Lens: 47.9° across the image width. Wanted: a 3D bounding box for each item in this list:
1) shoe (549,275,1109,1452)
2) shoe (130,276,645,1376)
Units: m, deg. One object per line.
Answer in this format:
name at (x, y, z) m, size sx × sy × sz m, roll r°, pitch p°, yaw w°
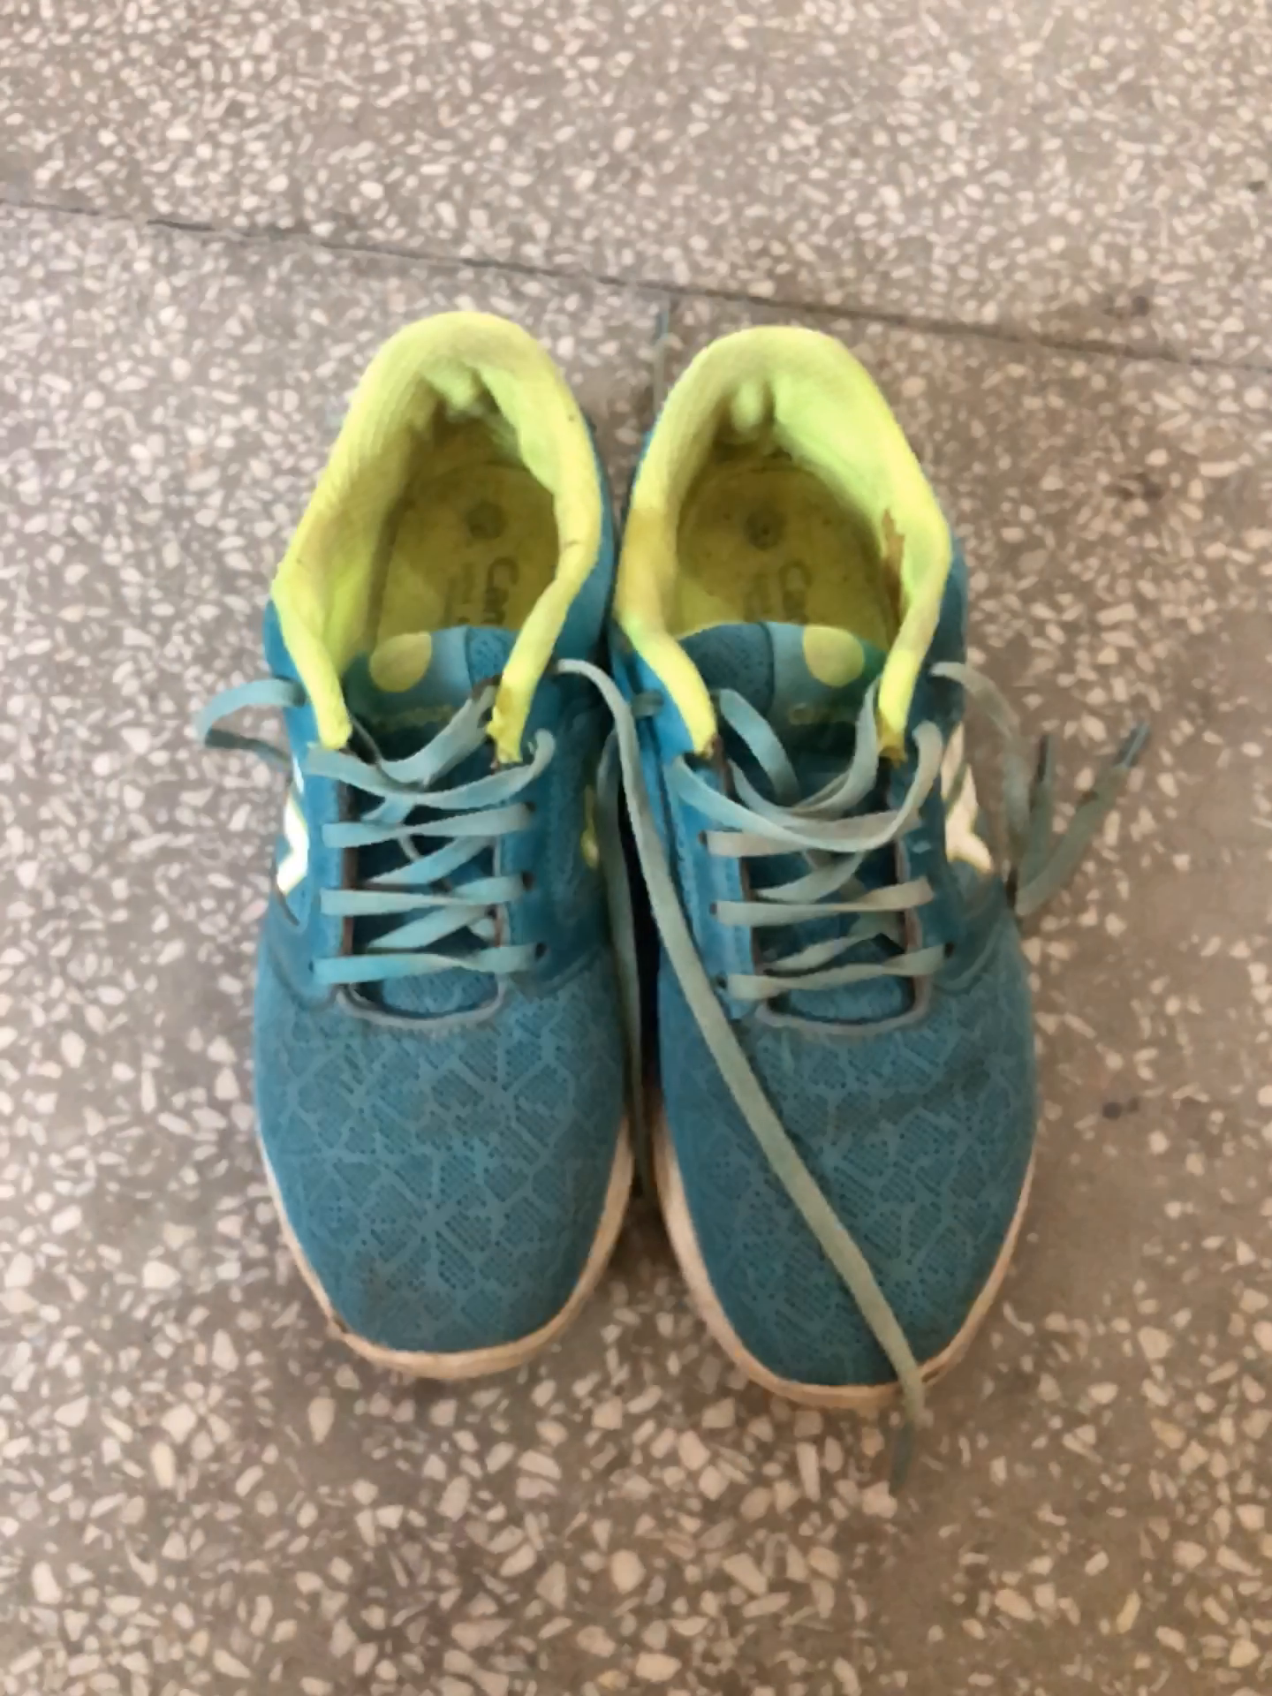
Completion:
shoe at (0.036, 0.001, 0.340) m, size 0.100 × 0.080 × 0.250 m, roll -3°, pitch 76°, yaw 1°
shoe at (-0.045, -0.006, 0.332) m, size 0.090 × 0.080 × 0.240 m, roll -1°, pitch 70°, yaw 2°
